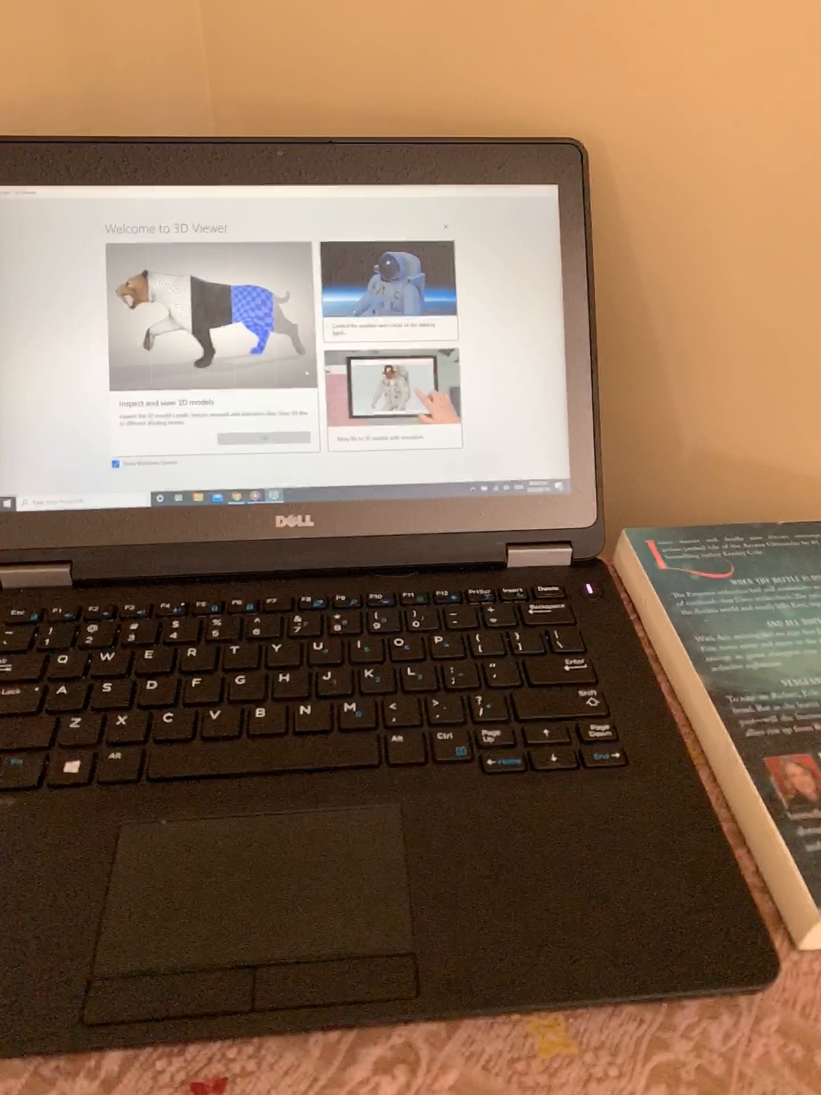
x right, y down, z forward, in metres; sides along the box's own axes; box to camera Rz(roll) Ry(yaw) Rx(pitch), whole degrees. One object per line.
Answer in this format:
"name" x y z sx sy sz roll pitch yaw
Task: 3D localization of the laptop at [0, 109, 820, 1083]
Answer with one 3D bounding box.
"laptop" -0.061 -0.046 0.400 0.365 0.186 0.424 -3 41 -4
